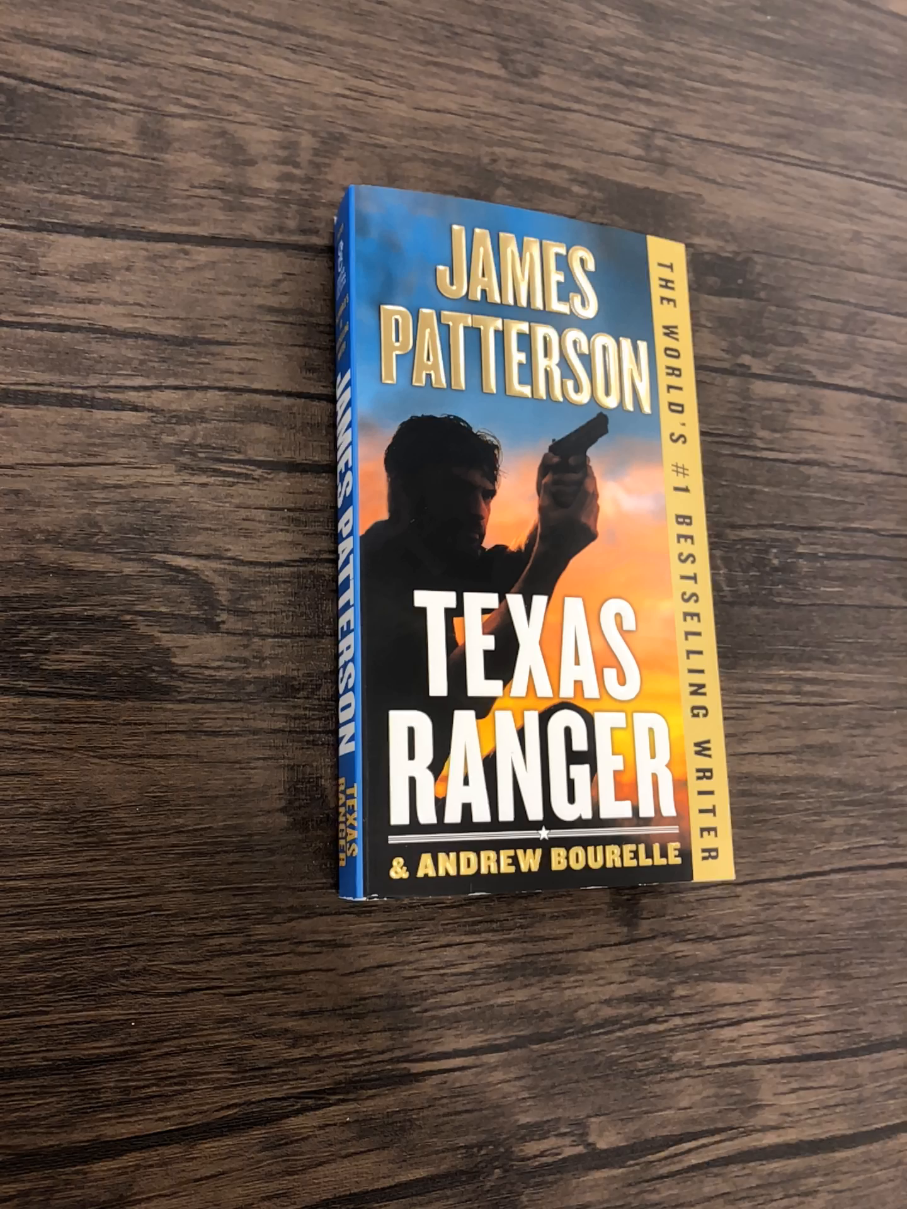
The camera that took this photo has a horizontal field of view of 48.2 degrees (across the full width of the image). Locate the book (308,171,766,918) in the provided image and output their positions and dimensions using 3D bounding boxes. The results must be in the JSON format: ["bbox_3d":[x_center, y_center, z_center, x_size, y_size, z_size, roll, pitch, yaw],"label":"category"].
[{"bbox_3d":[0.018,-0.014,0.273,0.107,0.040,0.180,3,76,-22],"label":"book"}]
